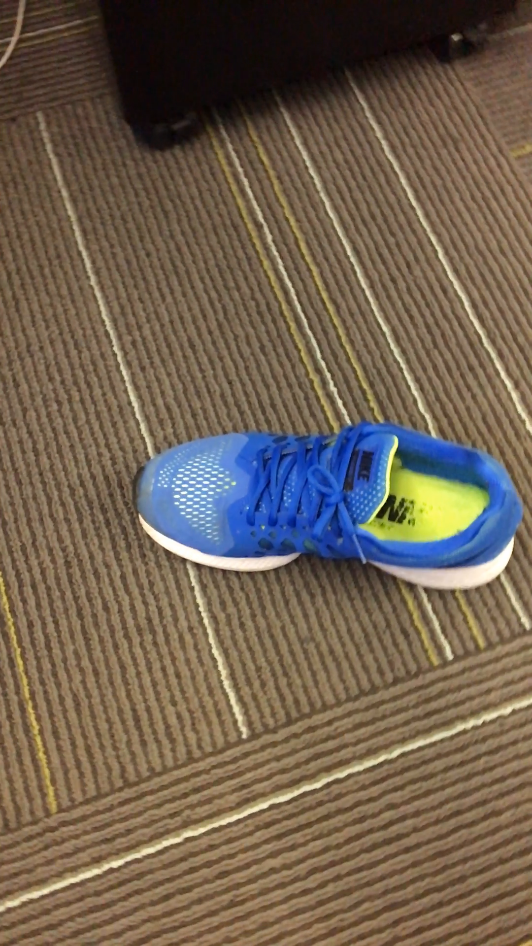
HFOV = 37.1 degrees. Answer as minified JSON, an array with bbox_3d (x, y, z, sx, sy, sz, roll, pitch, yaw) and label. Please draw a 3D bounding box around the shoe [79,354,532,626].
[{"bbox_3d":[0.043,0.020,0.584,0.310,0.150,0.110,9,70,3],"label":"shoe"}]
